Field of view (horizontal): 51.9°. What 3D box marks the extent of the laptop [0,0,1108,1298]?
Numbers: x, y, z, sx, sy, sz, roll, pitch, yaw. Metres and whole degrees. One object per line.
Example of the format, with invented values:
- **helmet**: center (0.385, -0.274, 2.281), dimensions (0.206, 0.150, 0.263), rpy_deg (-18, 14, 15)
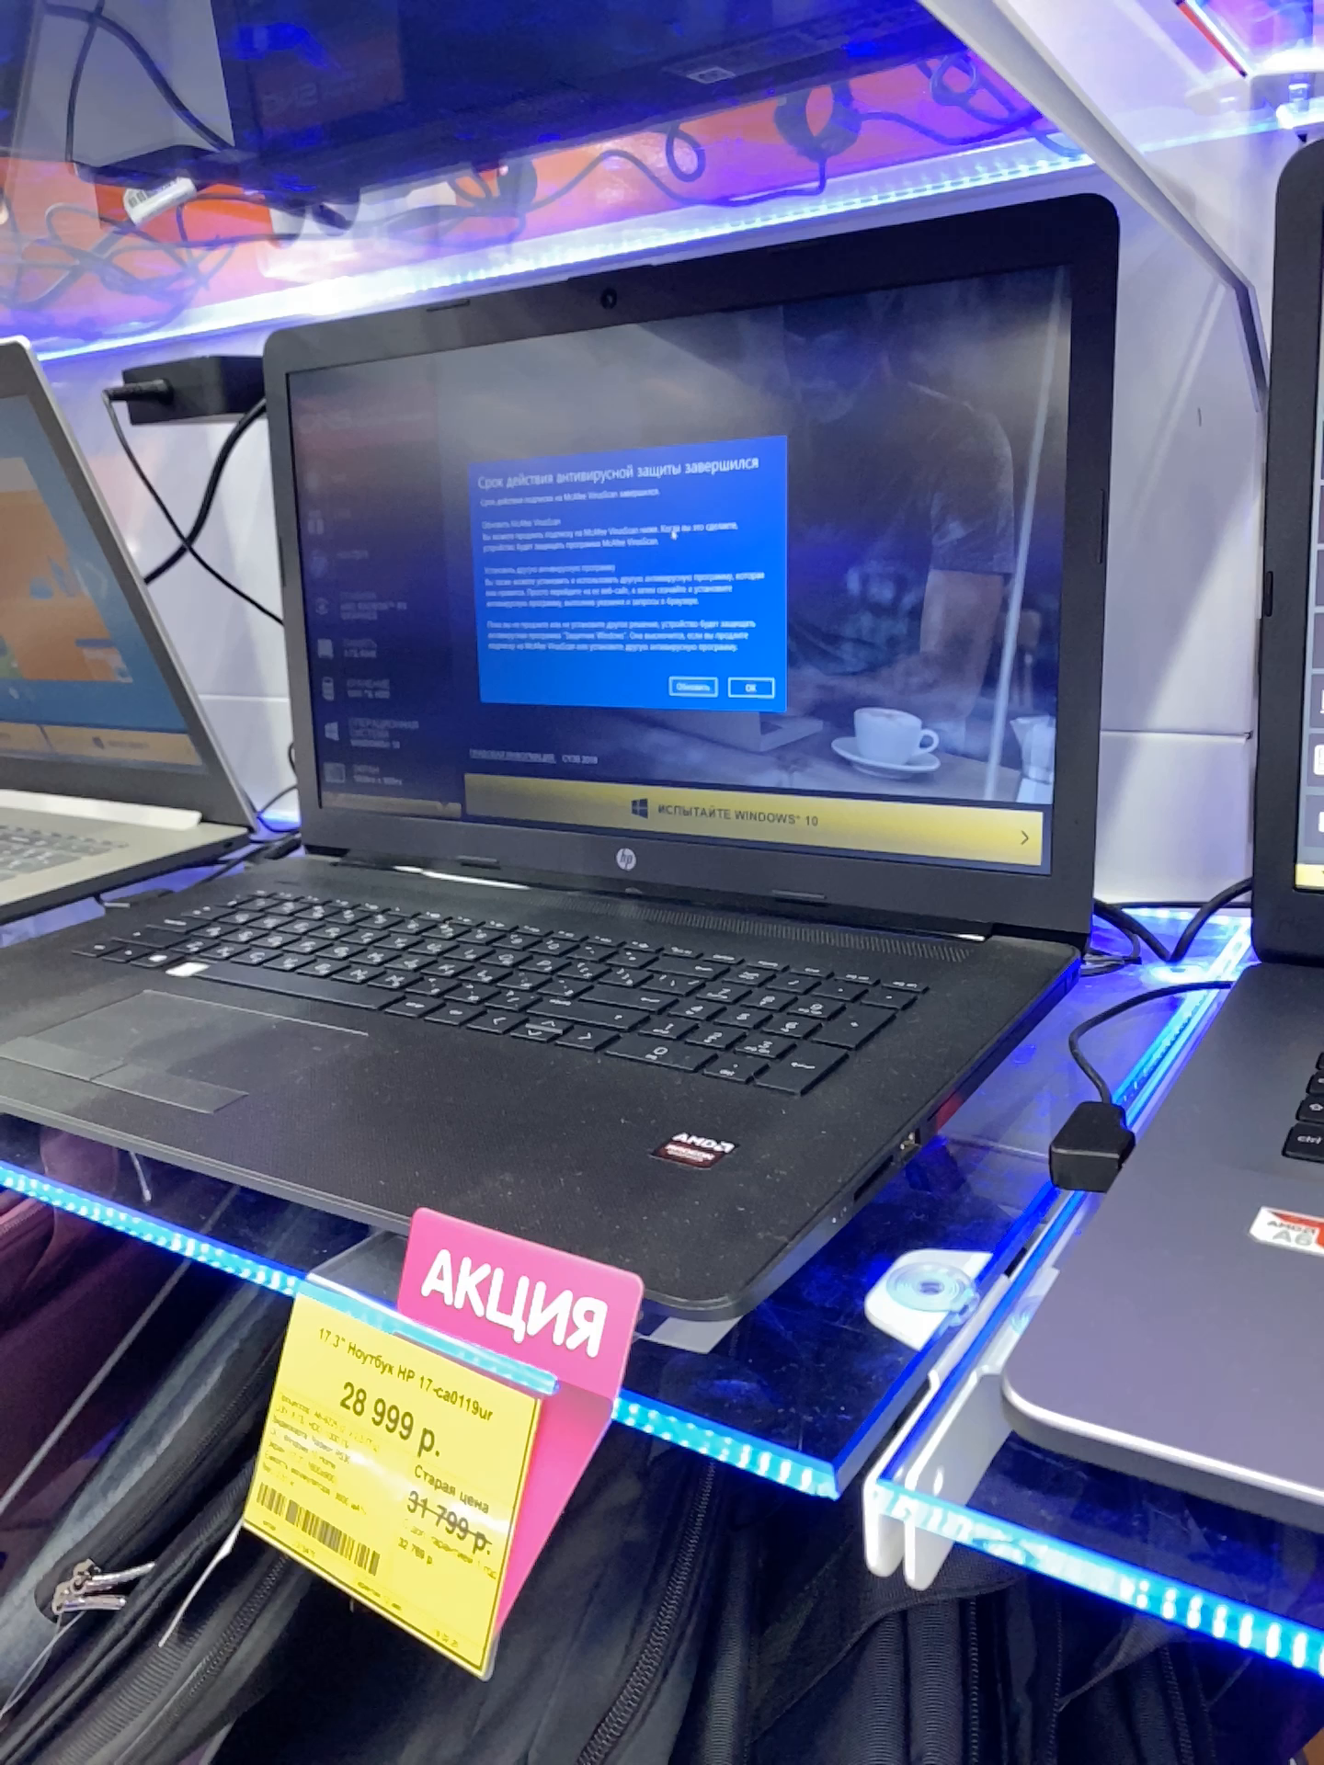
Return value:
- **laptop**: center (-0.089, -0.091, 0.500), dimensions (0.420, 0.260, 0.294), rpy_deg (6, 17, 31)
